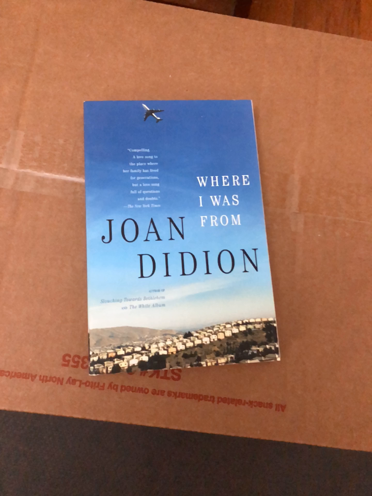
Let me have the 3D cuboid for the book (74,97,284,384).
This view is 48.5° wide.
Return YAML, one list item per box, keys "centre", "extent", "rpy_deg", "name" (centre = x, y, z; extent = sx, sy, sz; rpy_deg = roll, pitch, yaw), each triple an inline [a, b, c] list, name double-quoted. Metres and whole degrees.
- centre: [-0.010, -0.014, 0.312]
  extent: [0.140, 0.020, 0.210]
  rpy_deg: [-3, 77, -6]
  name: "book"
